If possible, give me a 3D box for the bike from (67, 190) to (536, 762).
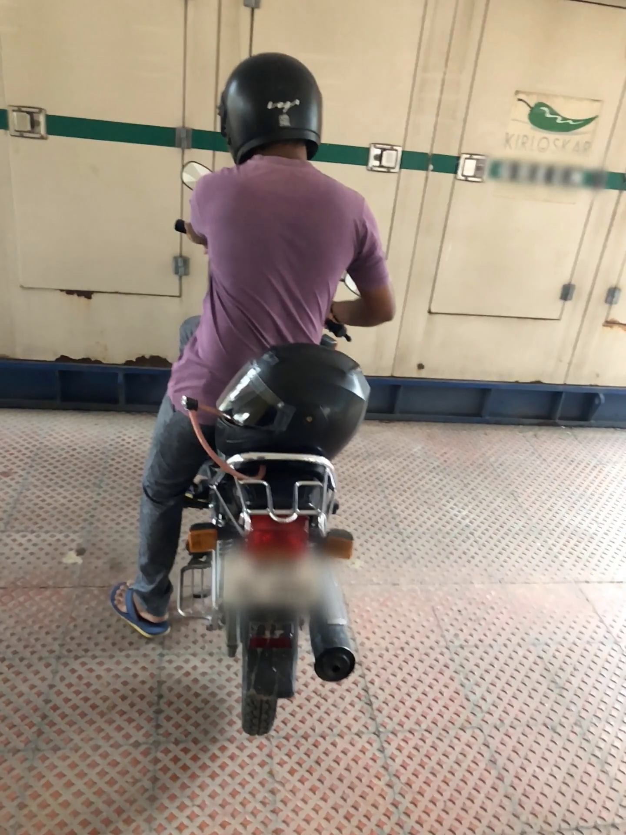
[{"bbox_3d":[-0.015,-0.008,2.094,0.814,0.927,1.604,6,29,-2],"label":"bike"}]
